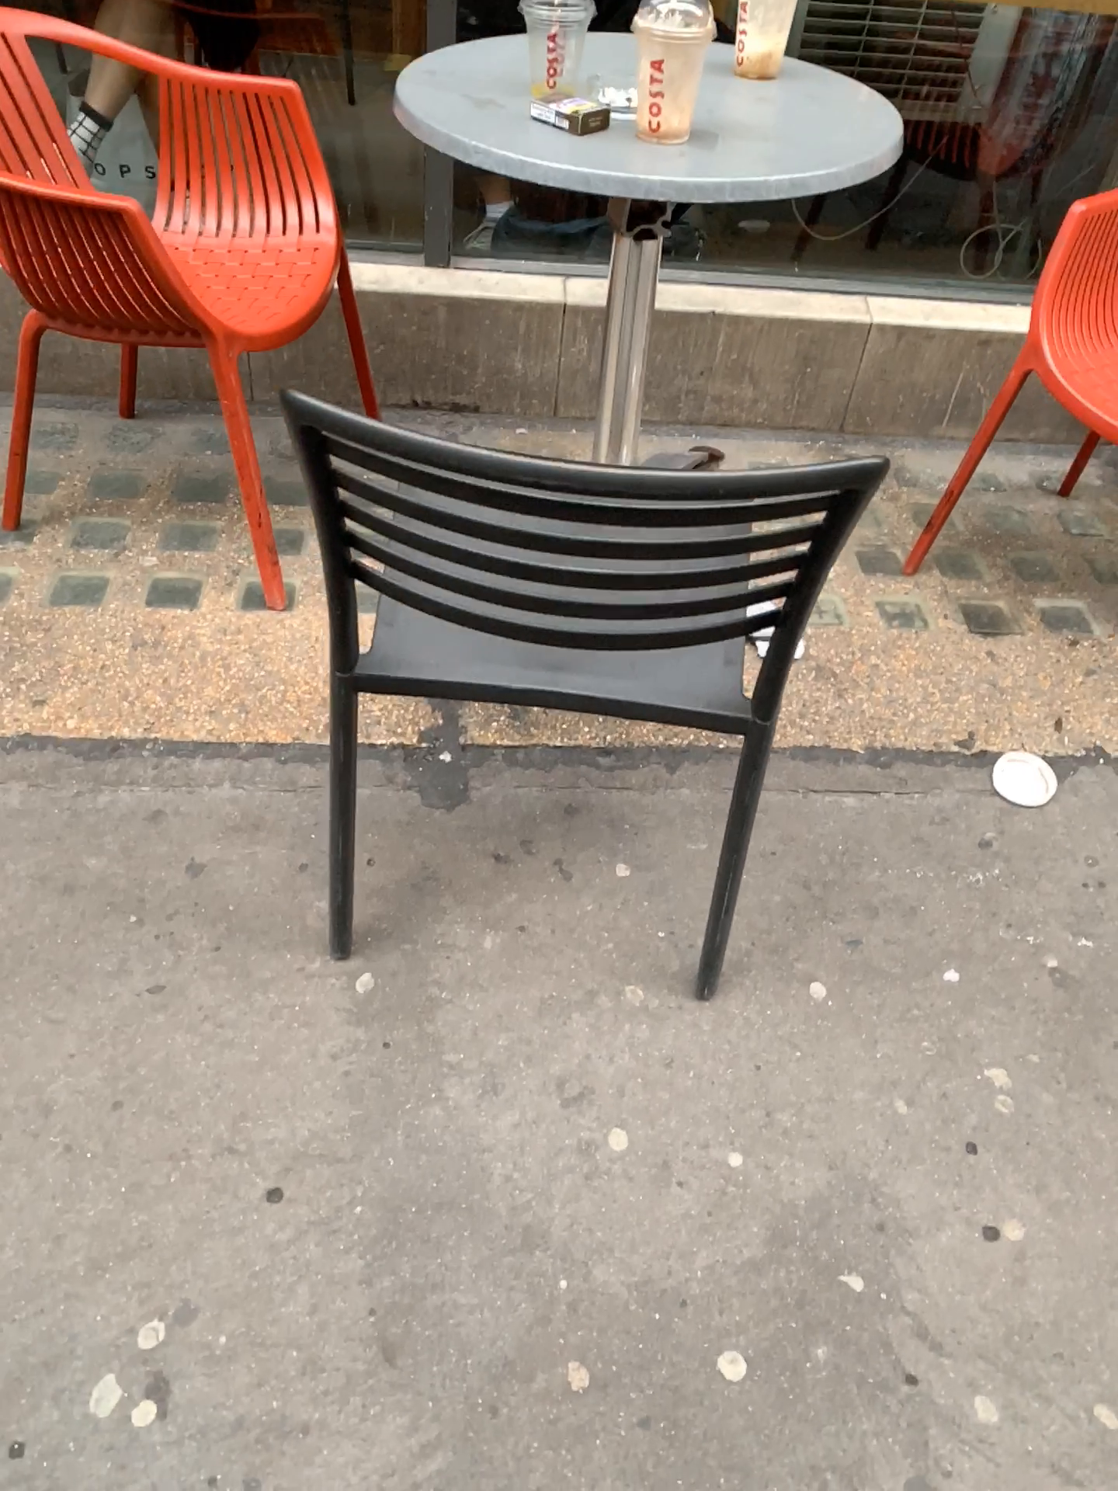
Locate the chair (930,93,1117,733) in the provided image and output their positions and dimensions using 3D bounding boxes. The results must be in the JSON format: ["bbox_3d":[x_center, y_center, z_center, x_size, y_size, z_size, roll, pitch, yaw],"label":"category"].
[{"bbox_3d":[1.260,-0.629,2.067,0.703,0.772,0.643,-30,55,-32],"label":"chair"}]

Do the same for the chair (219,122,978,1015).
[{"bbox_3d":[0.006,-0.181,1.296,0.550,0.752,0.606,5,44,-3],"label":"chair"}]

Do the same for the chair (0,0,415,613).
[{"bbox_3d":[-0.624,-0.739,1.841,0.640,0.743,0.576,11,44,4],"label":"chair"}]
